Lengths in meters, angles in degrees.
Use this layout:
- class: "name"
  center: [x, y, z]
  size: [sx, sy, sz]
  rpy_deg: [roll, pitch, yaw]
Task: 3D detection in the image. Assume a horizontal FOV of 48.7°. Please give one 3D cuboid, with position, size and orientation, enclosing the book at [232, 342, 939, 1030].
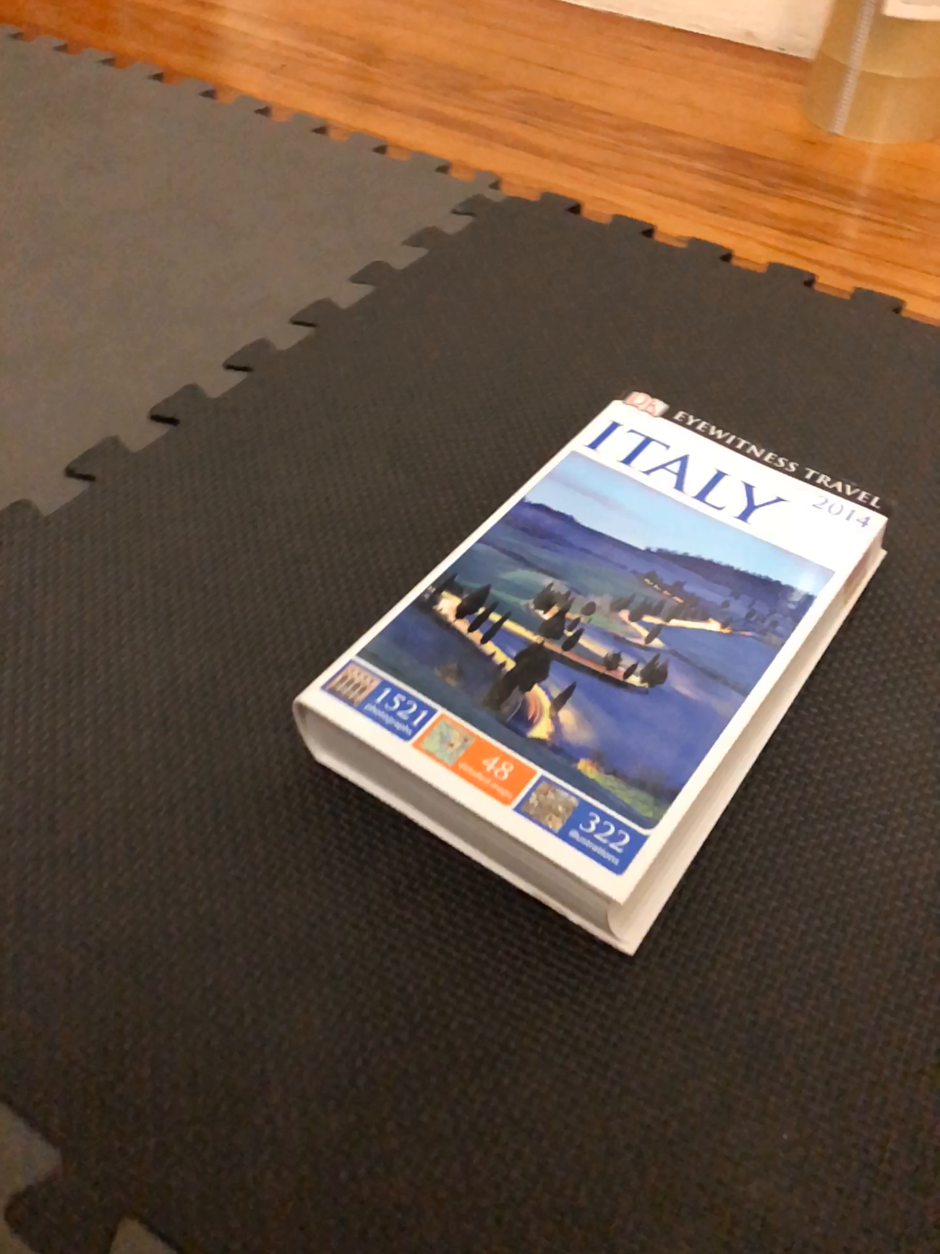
- class: "book"
  center: [0.062, -0.007, 0.383]
  size: [0.160, 0.040, 0.251]
  rpy_deg: [27, 52, 22]
